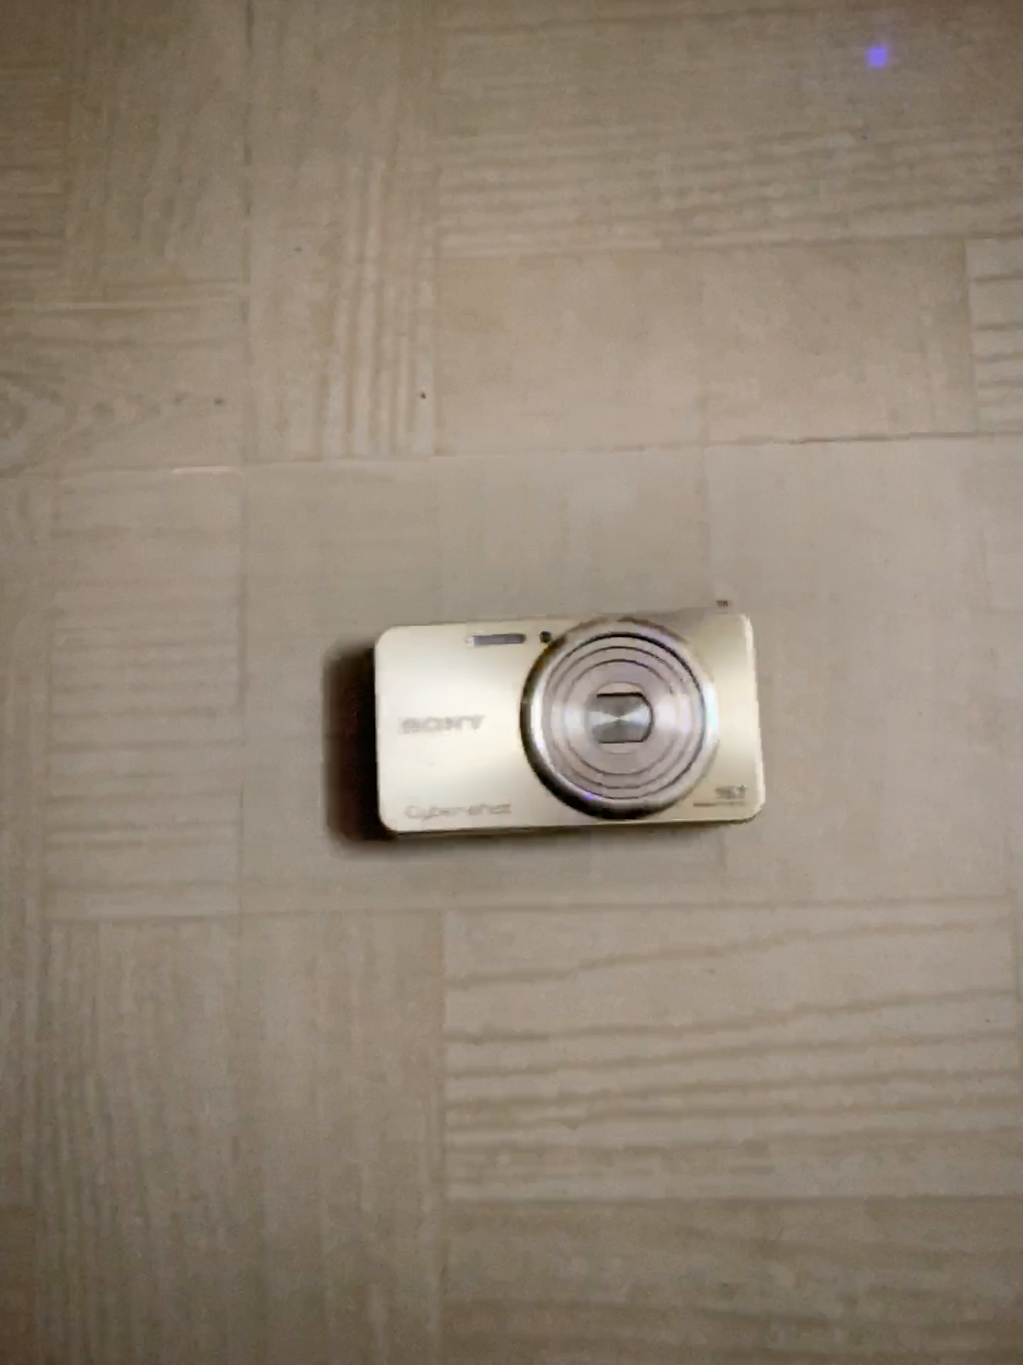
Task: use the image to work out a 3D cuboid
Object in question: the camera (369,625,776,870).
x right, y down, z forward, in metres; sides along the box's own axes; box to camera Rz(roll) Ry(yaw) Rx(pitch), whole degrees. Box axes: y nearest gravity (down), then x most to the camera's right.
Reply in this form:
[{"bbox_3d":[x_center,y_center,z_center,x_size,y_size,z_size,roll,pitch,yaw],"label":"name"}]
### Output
[{"bbox_3d":[0.014,0.017,0.268,0.097,0.019,0.057,-1,82,2],"label":"camera"}]
